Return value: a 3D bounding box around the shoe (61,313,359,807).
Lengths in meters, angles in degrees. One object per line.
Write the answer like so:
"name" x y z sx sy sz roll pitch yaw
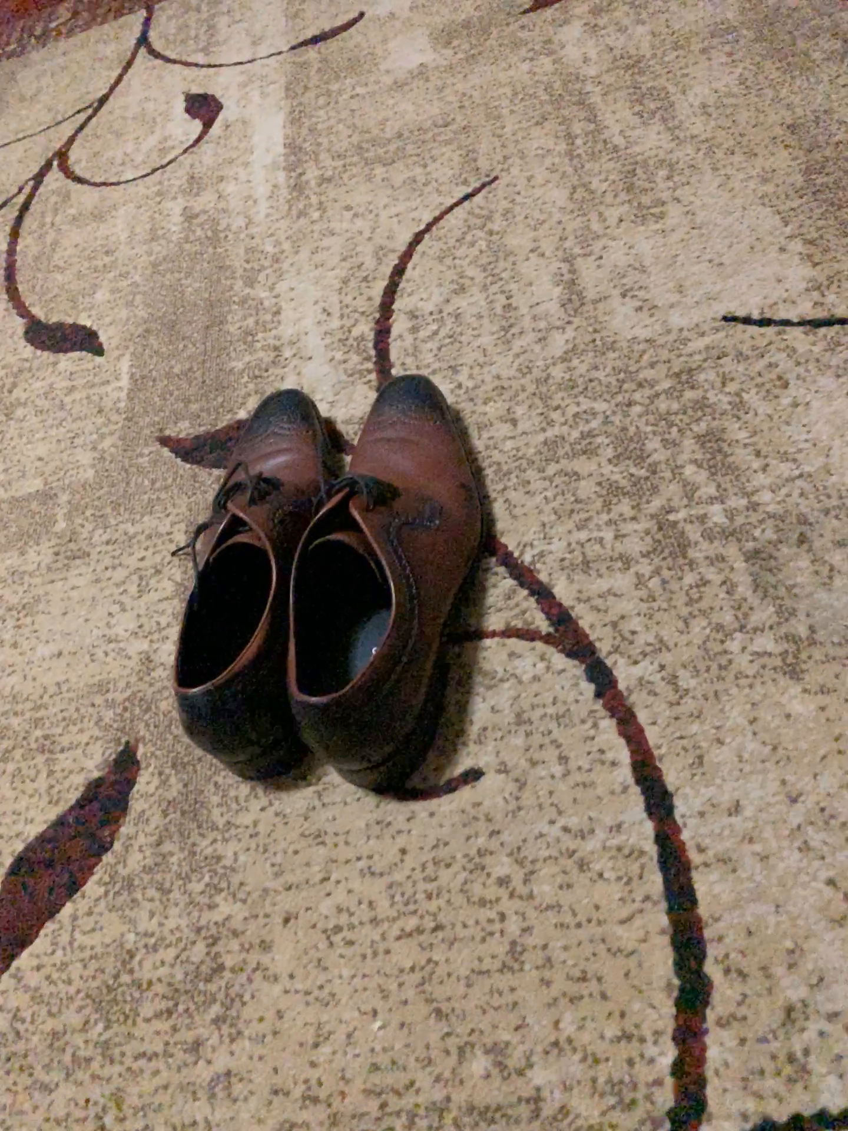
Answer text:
"shoe" -0.116 -0.011 0.551 0.100 0.115 0.288 -9 54 14

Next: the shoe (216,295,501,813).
"shoe" -0.021 -0.013 0.518 0.100 0.115 0.288 -5 55 16
